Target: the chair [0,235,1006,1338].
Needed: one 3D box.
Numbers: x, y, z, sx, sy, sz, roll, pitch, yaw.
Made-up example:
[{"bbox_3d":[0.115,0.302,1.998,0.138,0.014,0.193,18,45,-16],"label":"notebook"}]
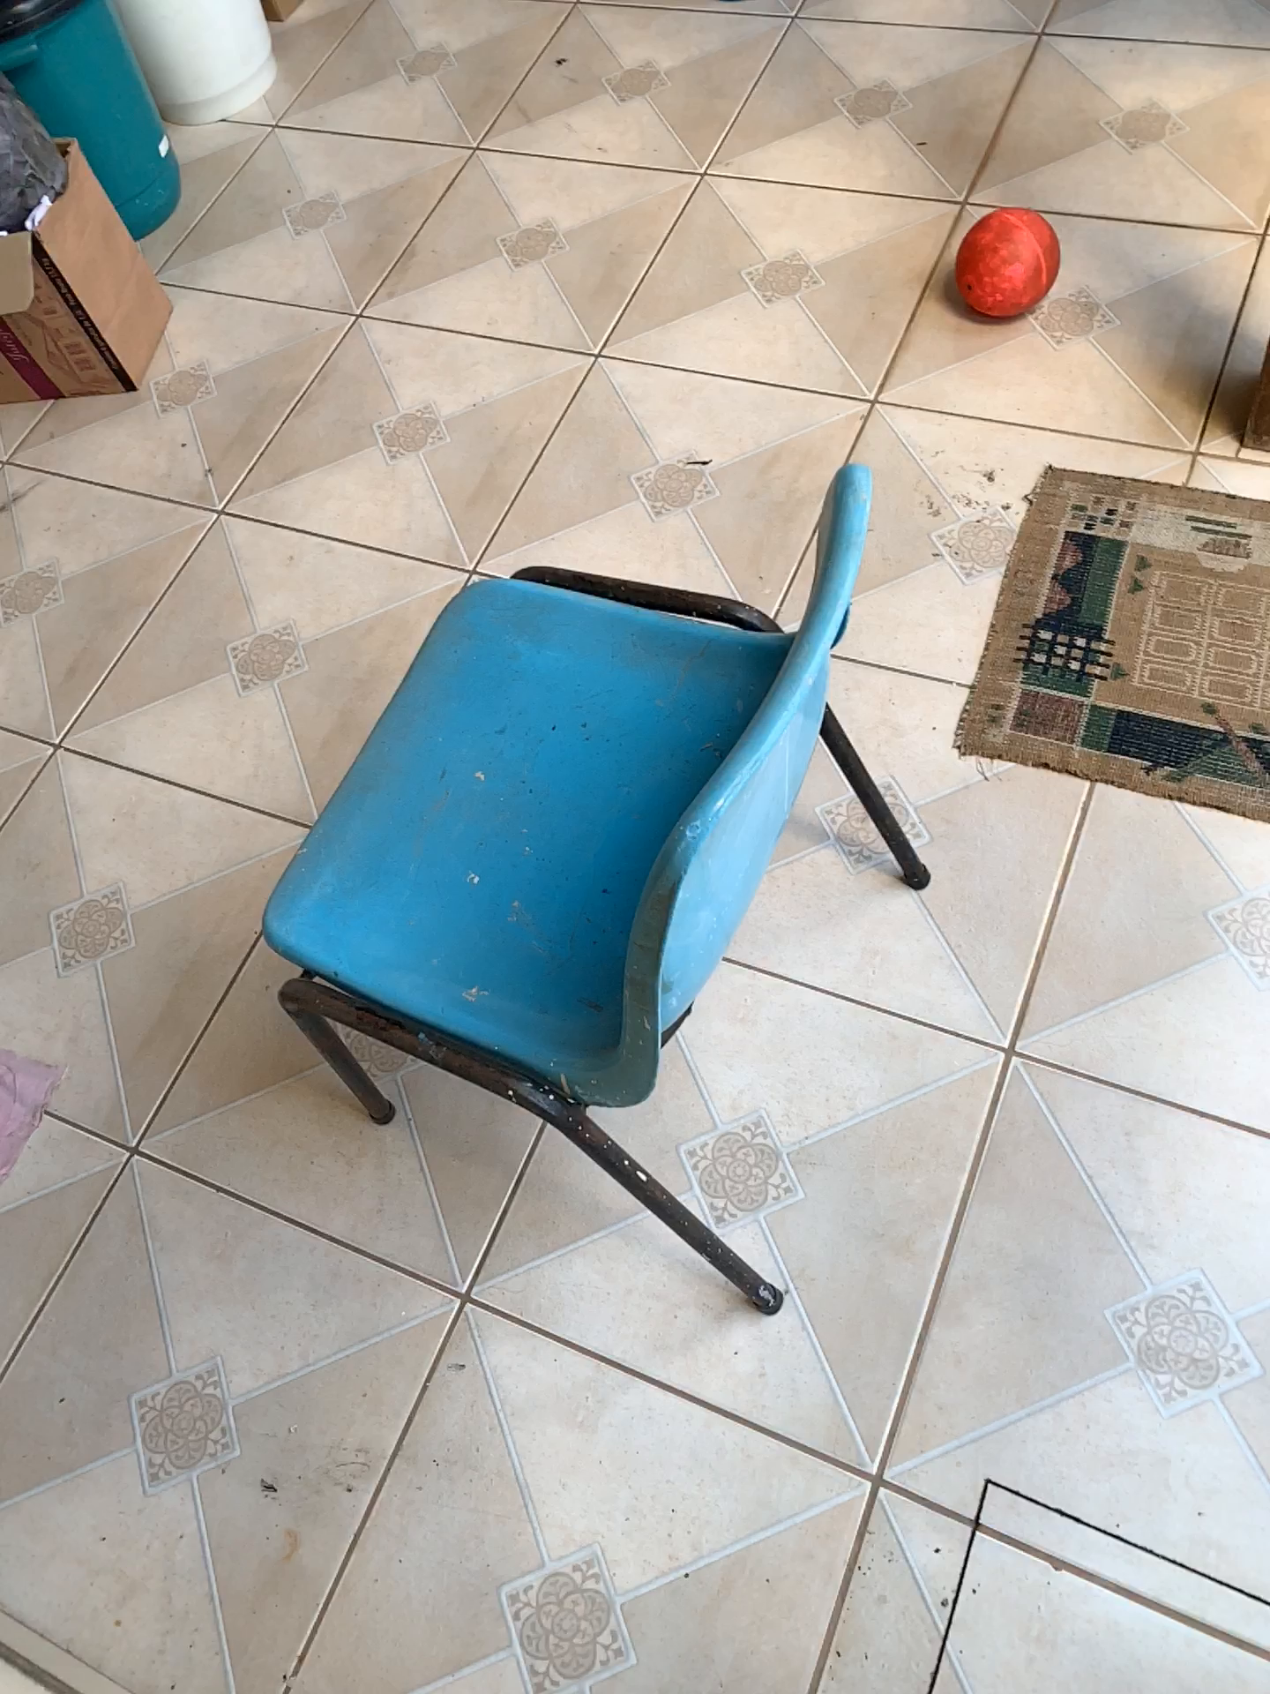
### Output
[{"bbox_3d":[-0.044,-0.016,1.107,0.531,0.688,0.551,15,64,20],"label":"chair"}]
